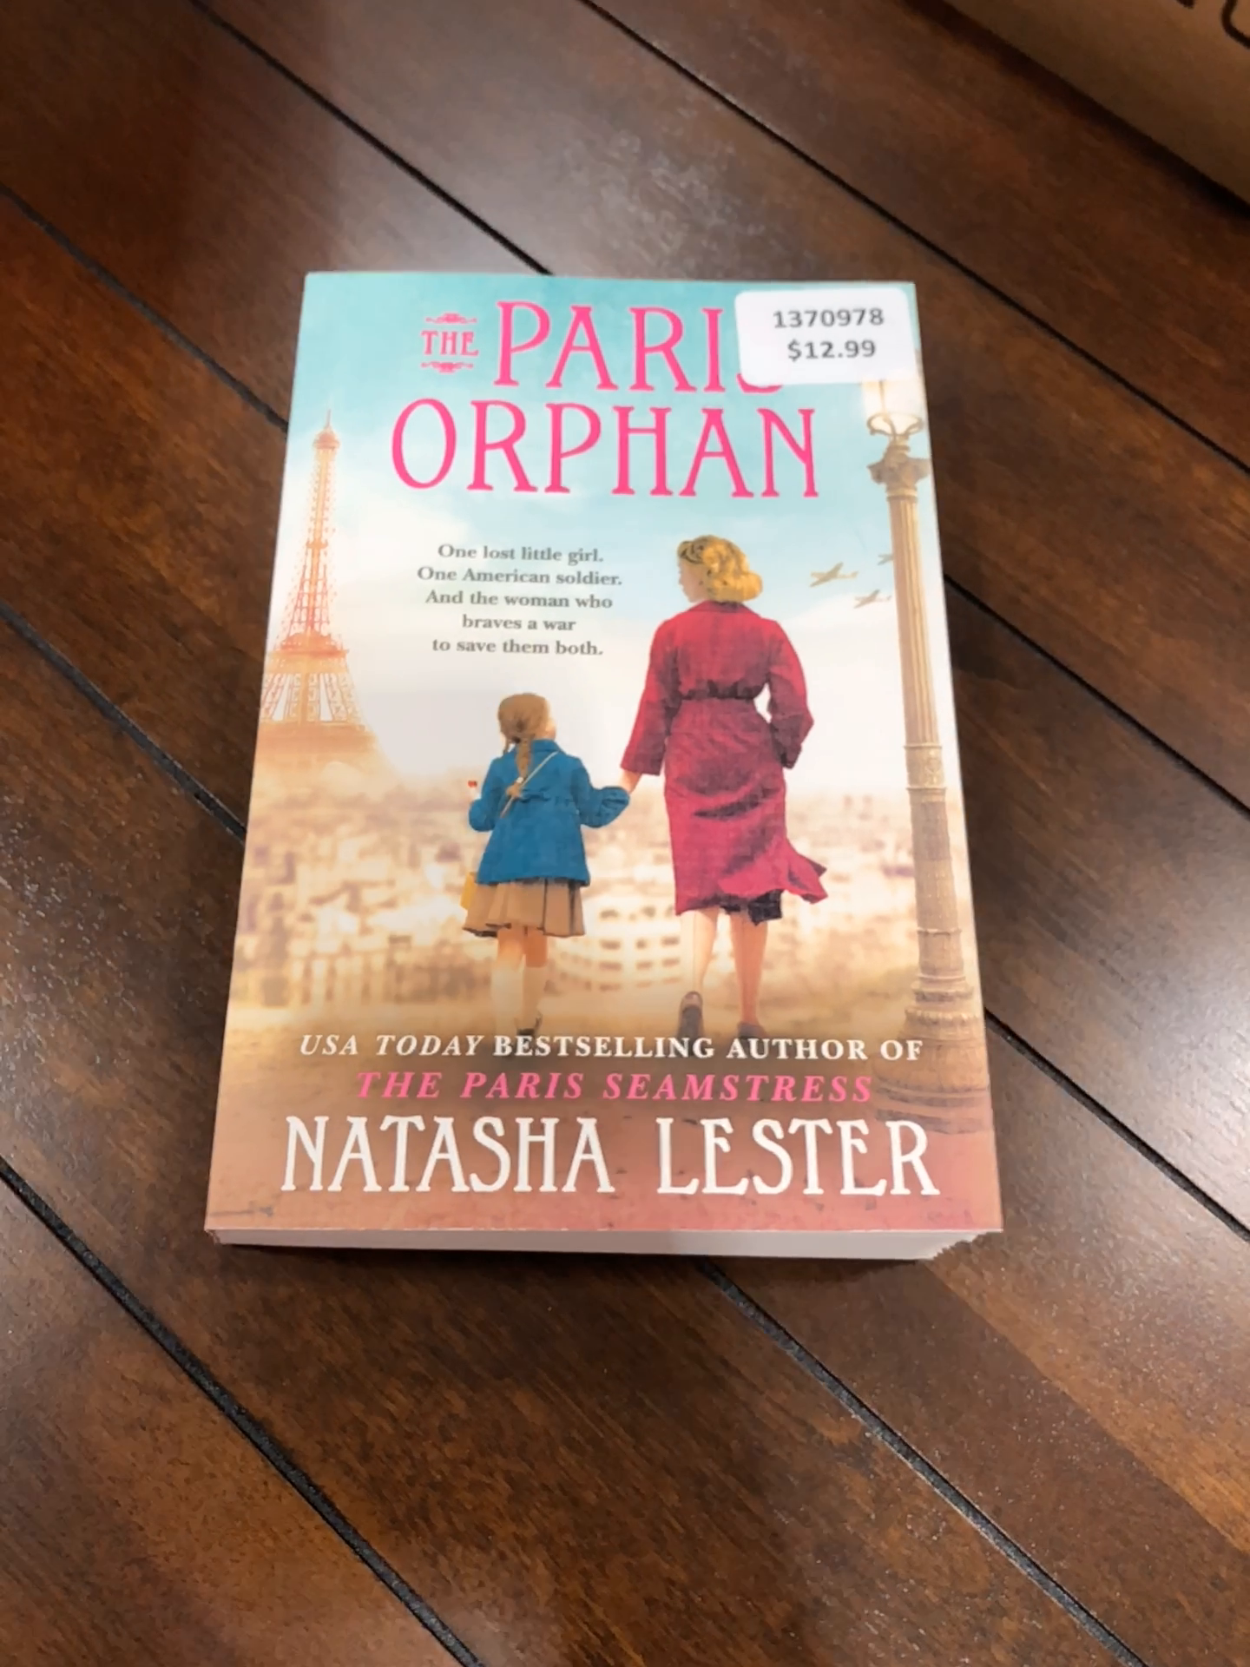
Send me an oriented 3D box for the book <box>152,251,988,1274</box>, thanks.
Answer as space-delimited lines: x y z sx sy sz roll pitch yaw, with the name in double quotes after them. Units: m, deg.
-0.007 -0.020 0.275 0.134 0.035 0.198 2 70 -1 "book"
